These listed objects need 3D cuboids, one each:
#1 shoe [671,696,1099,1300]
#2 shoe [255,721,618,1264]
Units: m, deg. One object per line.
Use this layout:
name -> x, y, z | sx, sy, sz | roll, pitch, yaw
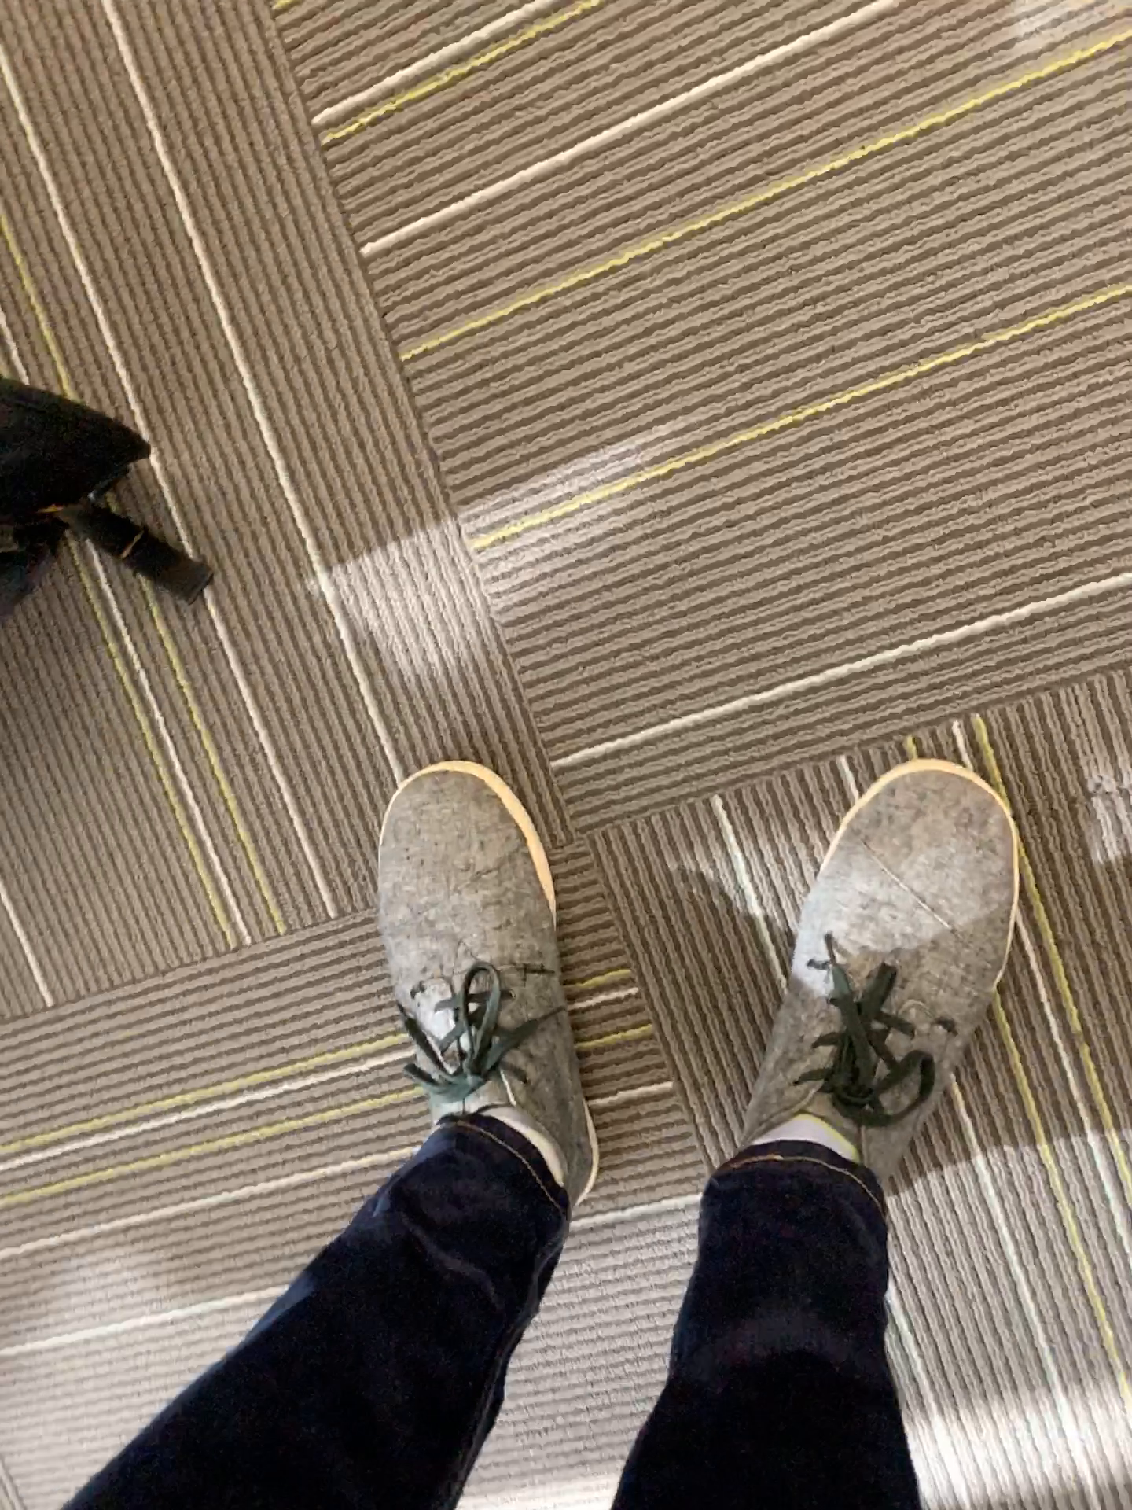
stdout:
shoe -> 0.169, 0.134, 0.654 | 0.134, 0.087, 0.299 | 17, 105, 9
shoe -> -0.072, 0.145, 0.710 | 0.134, 0.087, 0.301 | -11, 98, 14
